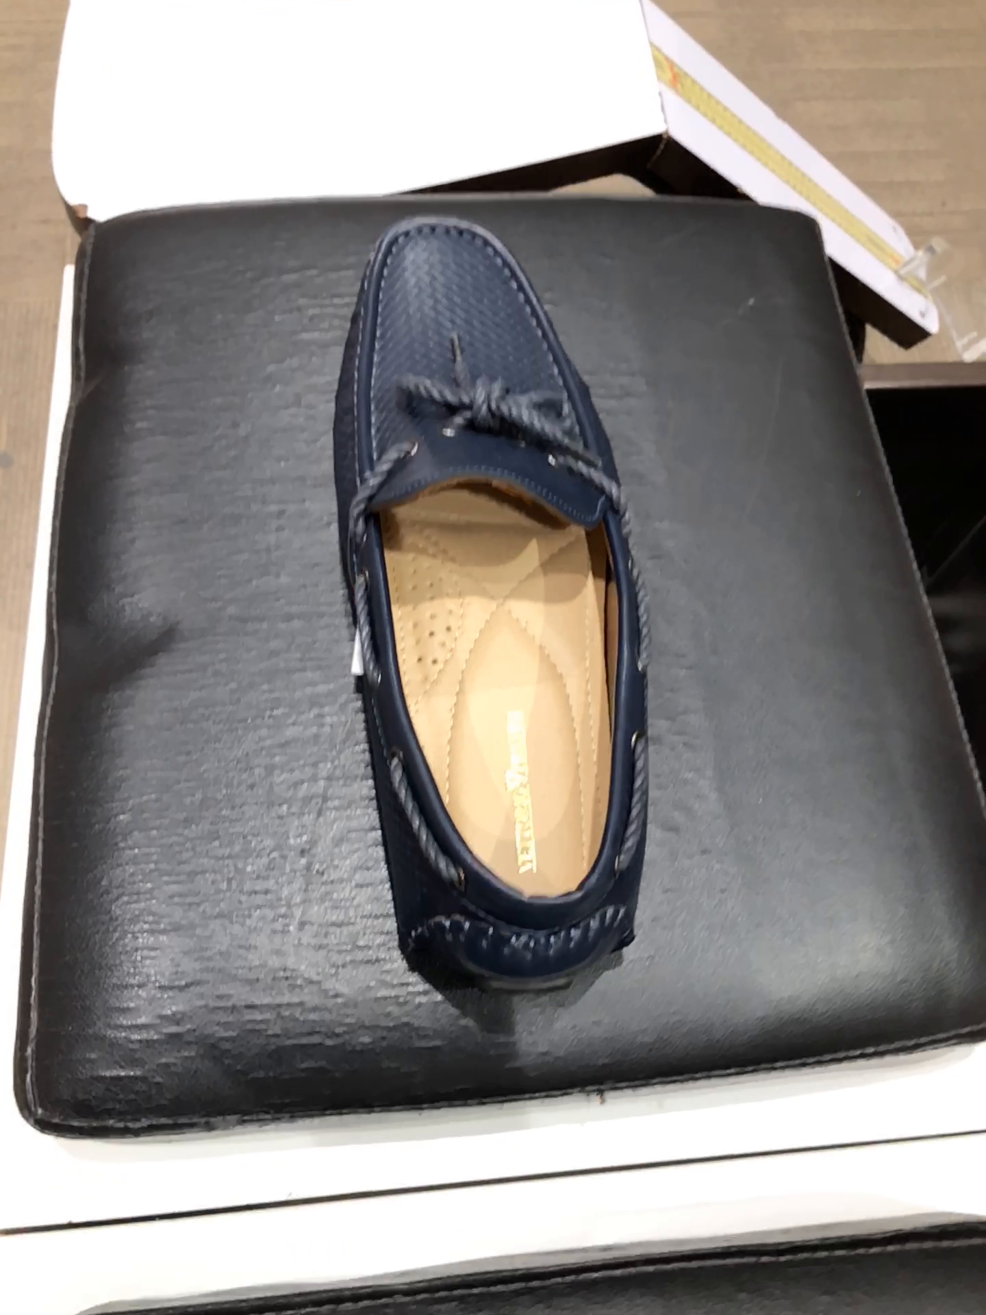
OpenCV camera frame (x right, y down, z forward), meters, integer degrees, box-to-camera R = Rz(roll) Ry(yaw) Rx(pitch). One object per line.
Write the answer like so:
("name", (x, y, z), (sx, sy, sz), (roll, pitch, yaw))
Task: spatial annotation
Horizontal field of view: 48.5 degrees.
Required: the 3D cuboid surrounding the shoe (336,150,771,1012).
("shoe", (0.005, -0.034, 0.356), (0.100, 0.080, 0.271), (-3, 66, -5))
